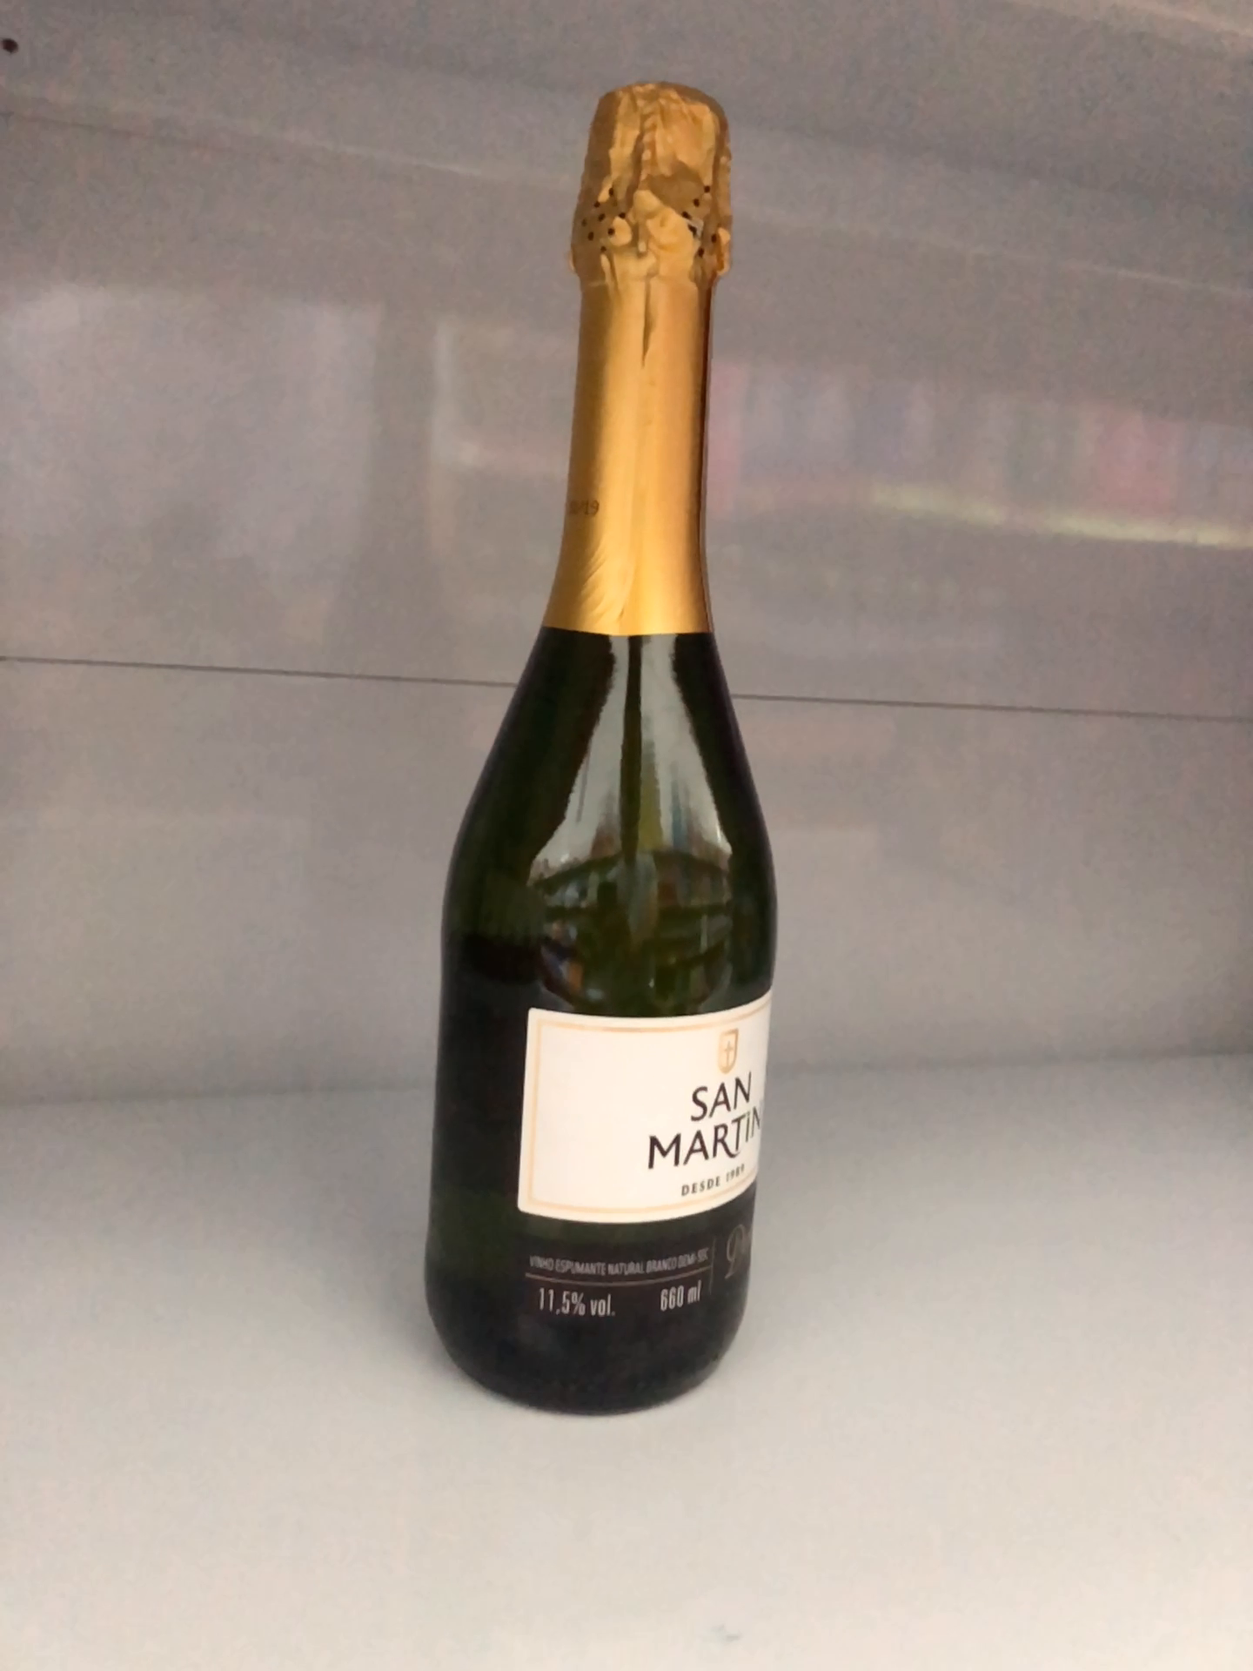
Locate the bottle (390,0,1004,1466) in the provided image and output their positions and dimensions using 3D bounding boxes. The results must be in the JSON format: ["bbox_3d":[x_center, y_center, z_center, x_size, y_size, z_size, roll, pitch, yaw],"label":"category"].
[{"bbox_3d":[0.011,-0.028,0.329,0.090,0.309,0.080,-5,14,-42],"label":"bottle"}]
